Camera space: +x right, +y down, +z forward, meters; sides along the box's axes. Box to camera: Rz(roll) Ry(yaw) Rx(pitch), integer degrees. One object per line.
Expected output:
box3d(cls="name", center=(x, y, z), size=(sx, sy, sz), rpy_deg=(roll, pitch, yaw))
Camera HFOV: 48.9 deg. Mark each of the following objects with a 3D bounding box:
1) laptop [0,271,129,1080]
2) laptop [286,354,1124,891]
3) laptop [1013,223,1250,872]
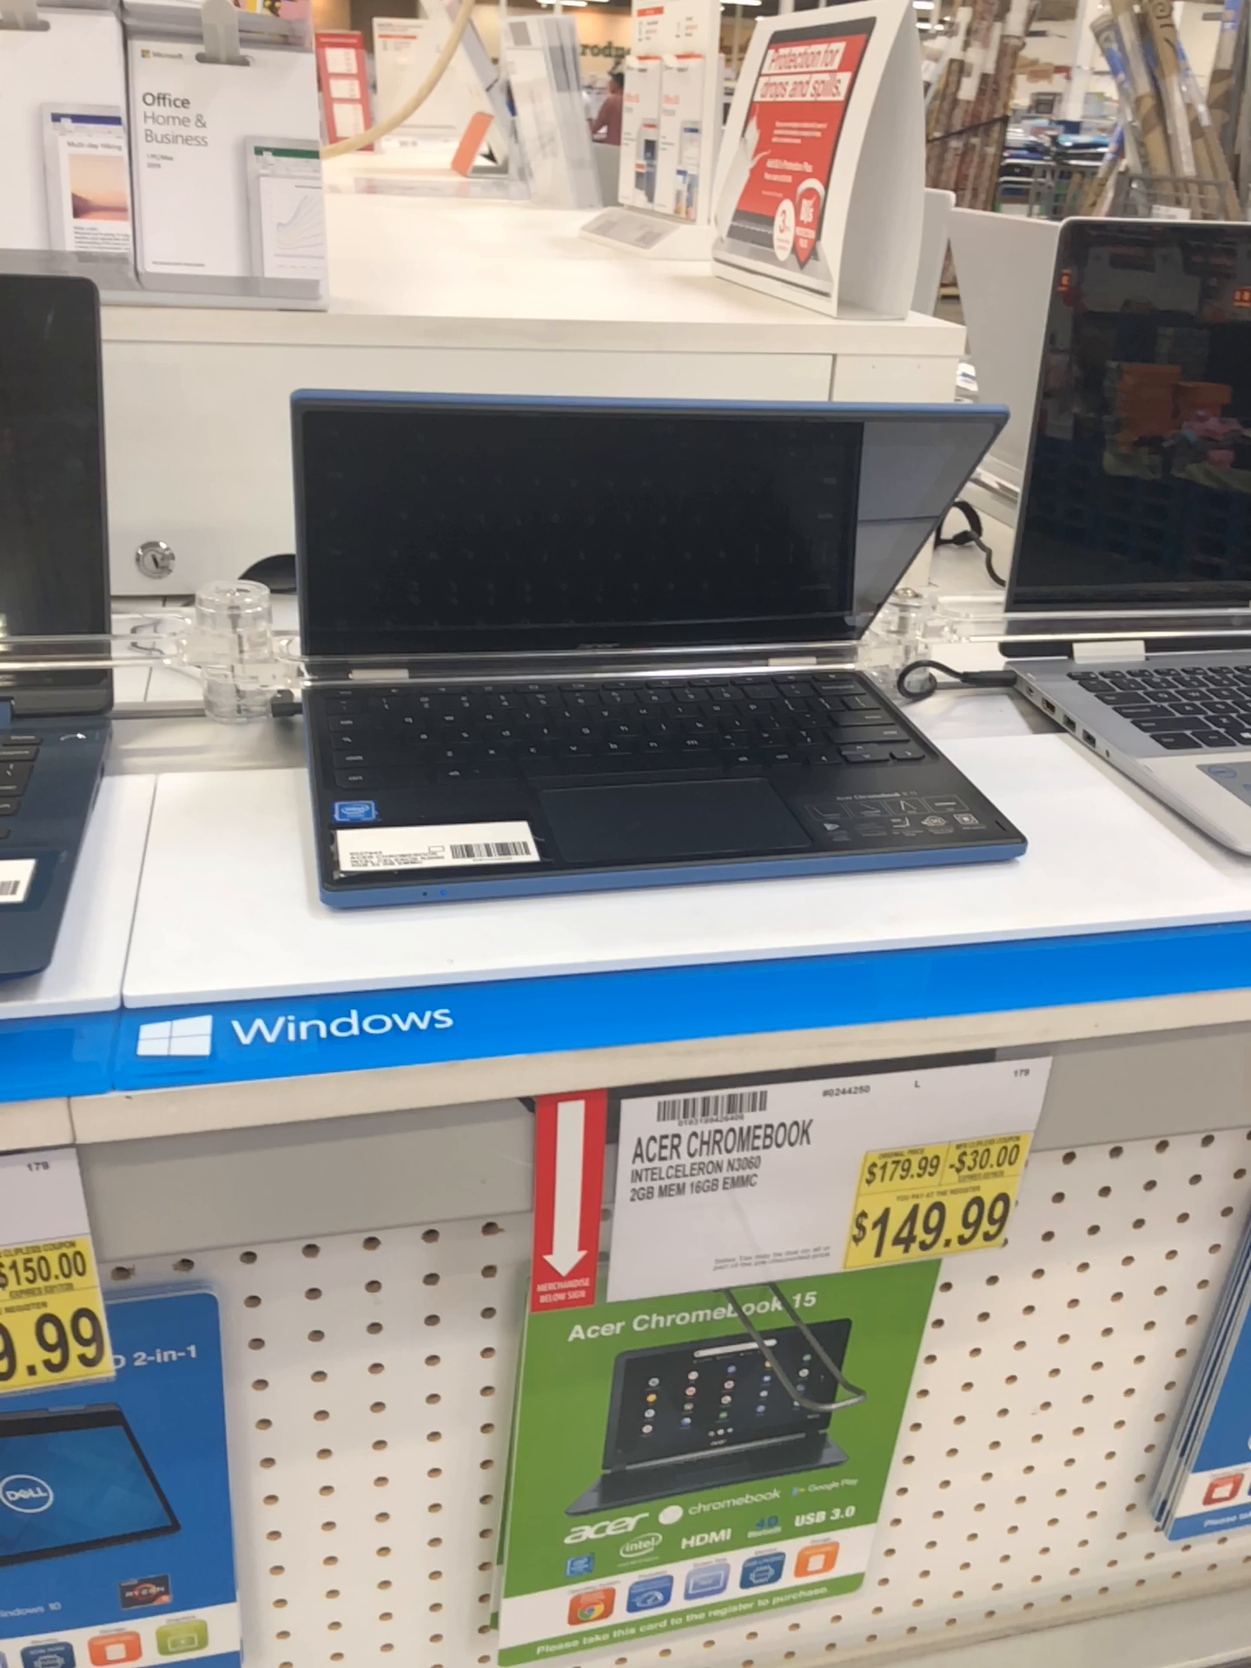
box3d(cls="laptop", center=(-0.374, -0.102, 0.525), size=(0.304, 0.169, 0.369), rpy_deg=(-4, 27, -14))
box3d(cls="laptop", center=(0.012, -0.102, 0.591), size=(0.293, 0.159, 0.195), rpy_deg=(-3, 28, -13))
box3d(cls="laptop", center=(0.414, -0.164, 0.675), size=(0.340, 0.218, 0.257), rpy_deg=(-4, 30, -11))
